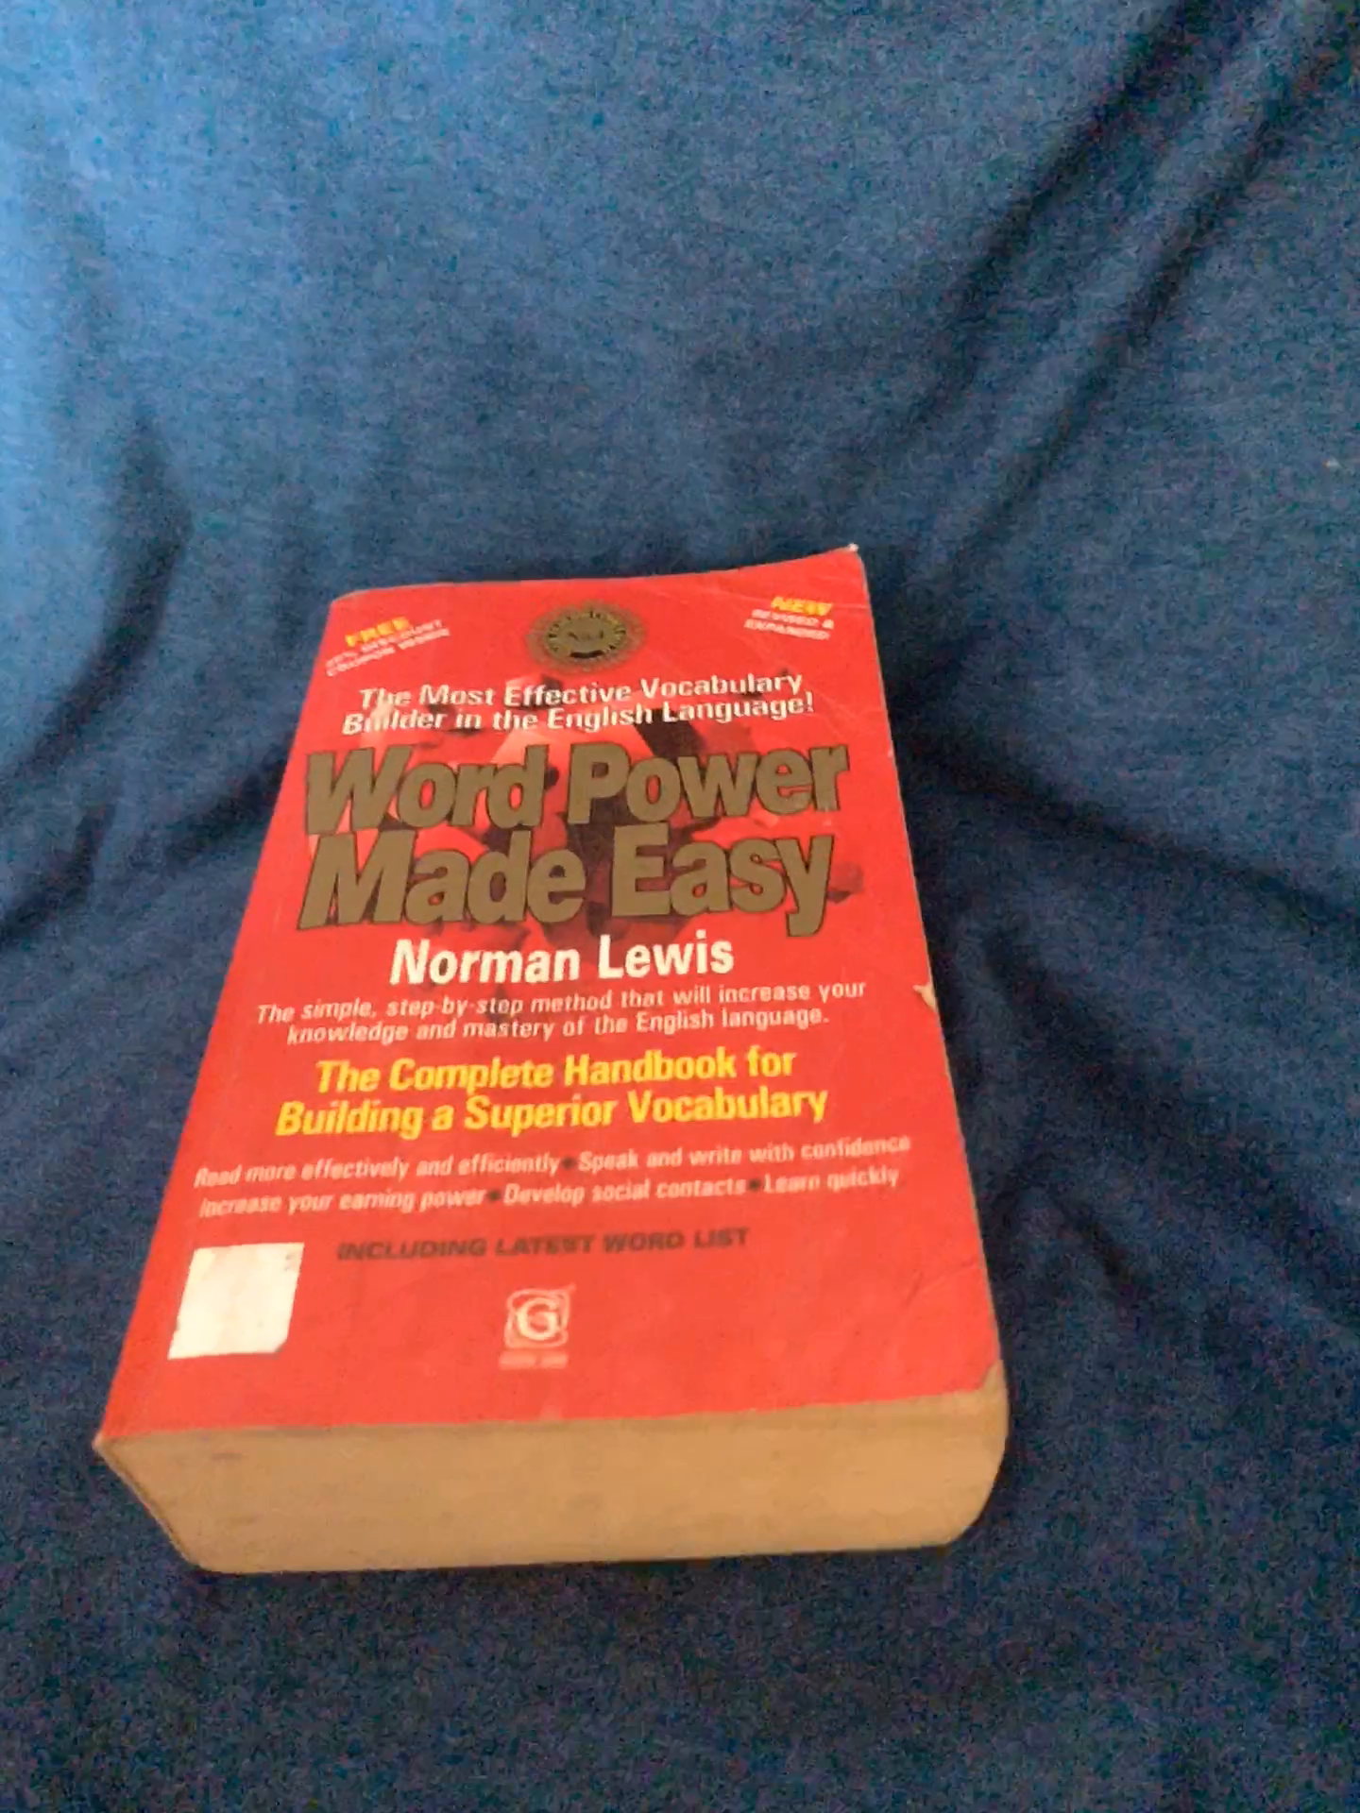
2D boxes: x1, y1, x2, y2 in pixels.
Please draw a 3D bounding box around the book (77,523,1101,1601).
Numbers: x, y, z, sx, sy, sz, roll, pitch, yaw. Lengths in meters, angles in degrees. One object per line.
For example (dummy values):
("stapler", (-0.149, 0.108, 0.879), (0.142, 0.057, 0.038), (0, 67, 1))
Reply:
("book", (-0.012, 0.010, 0.248), (0.120, 0.050, 0.191), (-2, 48, 1))
